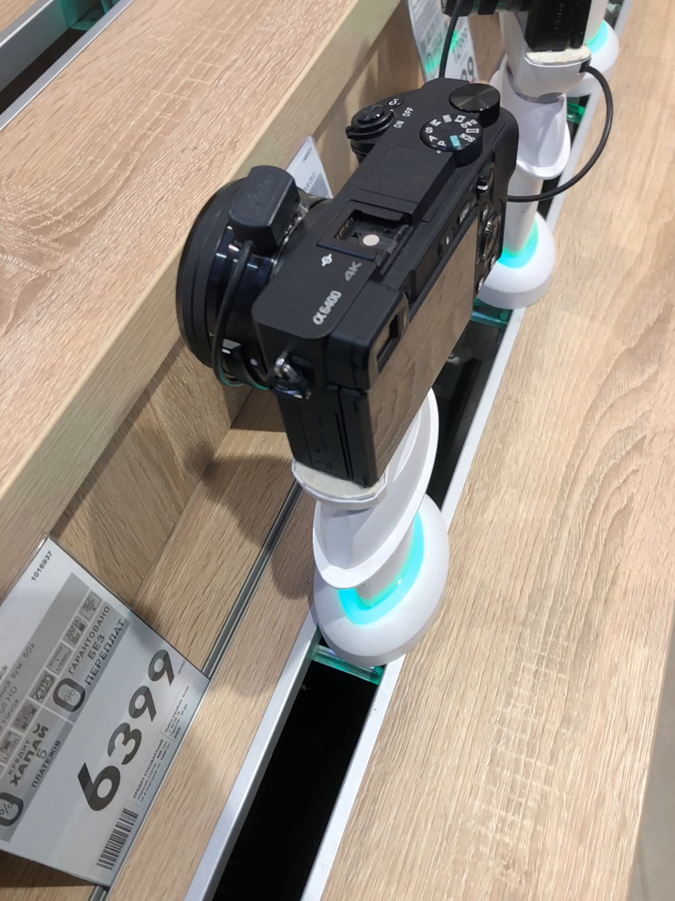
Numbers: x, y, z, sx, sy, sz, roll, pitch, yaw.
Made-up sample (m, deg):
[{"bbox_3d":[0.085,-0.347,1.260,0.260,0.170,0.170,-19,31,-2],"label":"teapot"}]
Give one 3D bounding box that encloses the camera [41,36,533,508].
[{"bbox_3d":[-0.007,-0.064,0.246,0.098,0.069,0.122,20,60,19],"label":"camera"}]
